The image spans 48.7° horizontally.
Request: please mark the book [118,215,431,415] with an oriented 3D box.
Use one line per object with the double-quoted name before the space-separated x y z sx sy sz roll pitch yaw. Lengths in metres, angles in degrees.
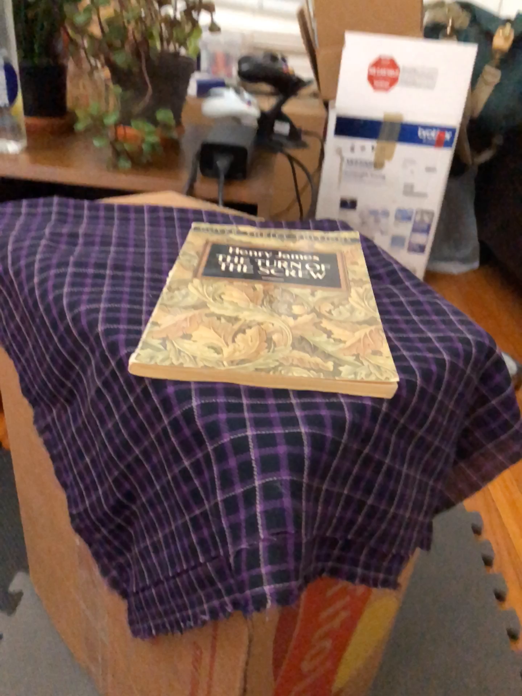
"book" 0.010 -0.036 0.354 0.140 0.010 0.221 5 30 -1
